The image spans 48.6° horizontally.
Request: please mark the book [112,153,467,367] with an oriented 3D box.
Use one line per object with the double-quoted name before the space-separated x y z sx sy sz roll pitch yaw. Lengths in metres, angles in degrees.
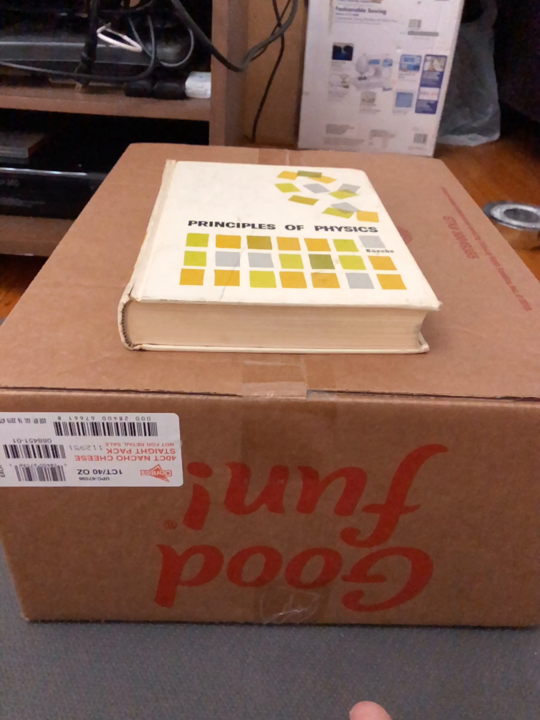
"book" 0.007 -0.085 0.417 0.180 0.040 0.251 1 34 -3
